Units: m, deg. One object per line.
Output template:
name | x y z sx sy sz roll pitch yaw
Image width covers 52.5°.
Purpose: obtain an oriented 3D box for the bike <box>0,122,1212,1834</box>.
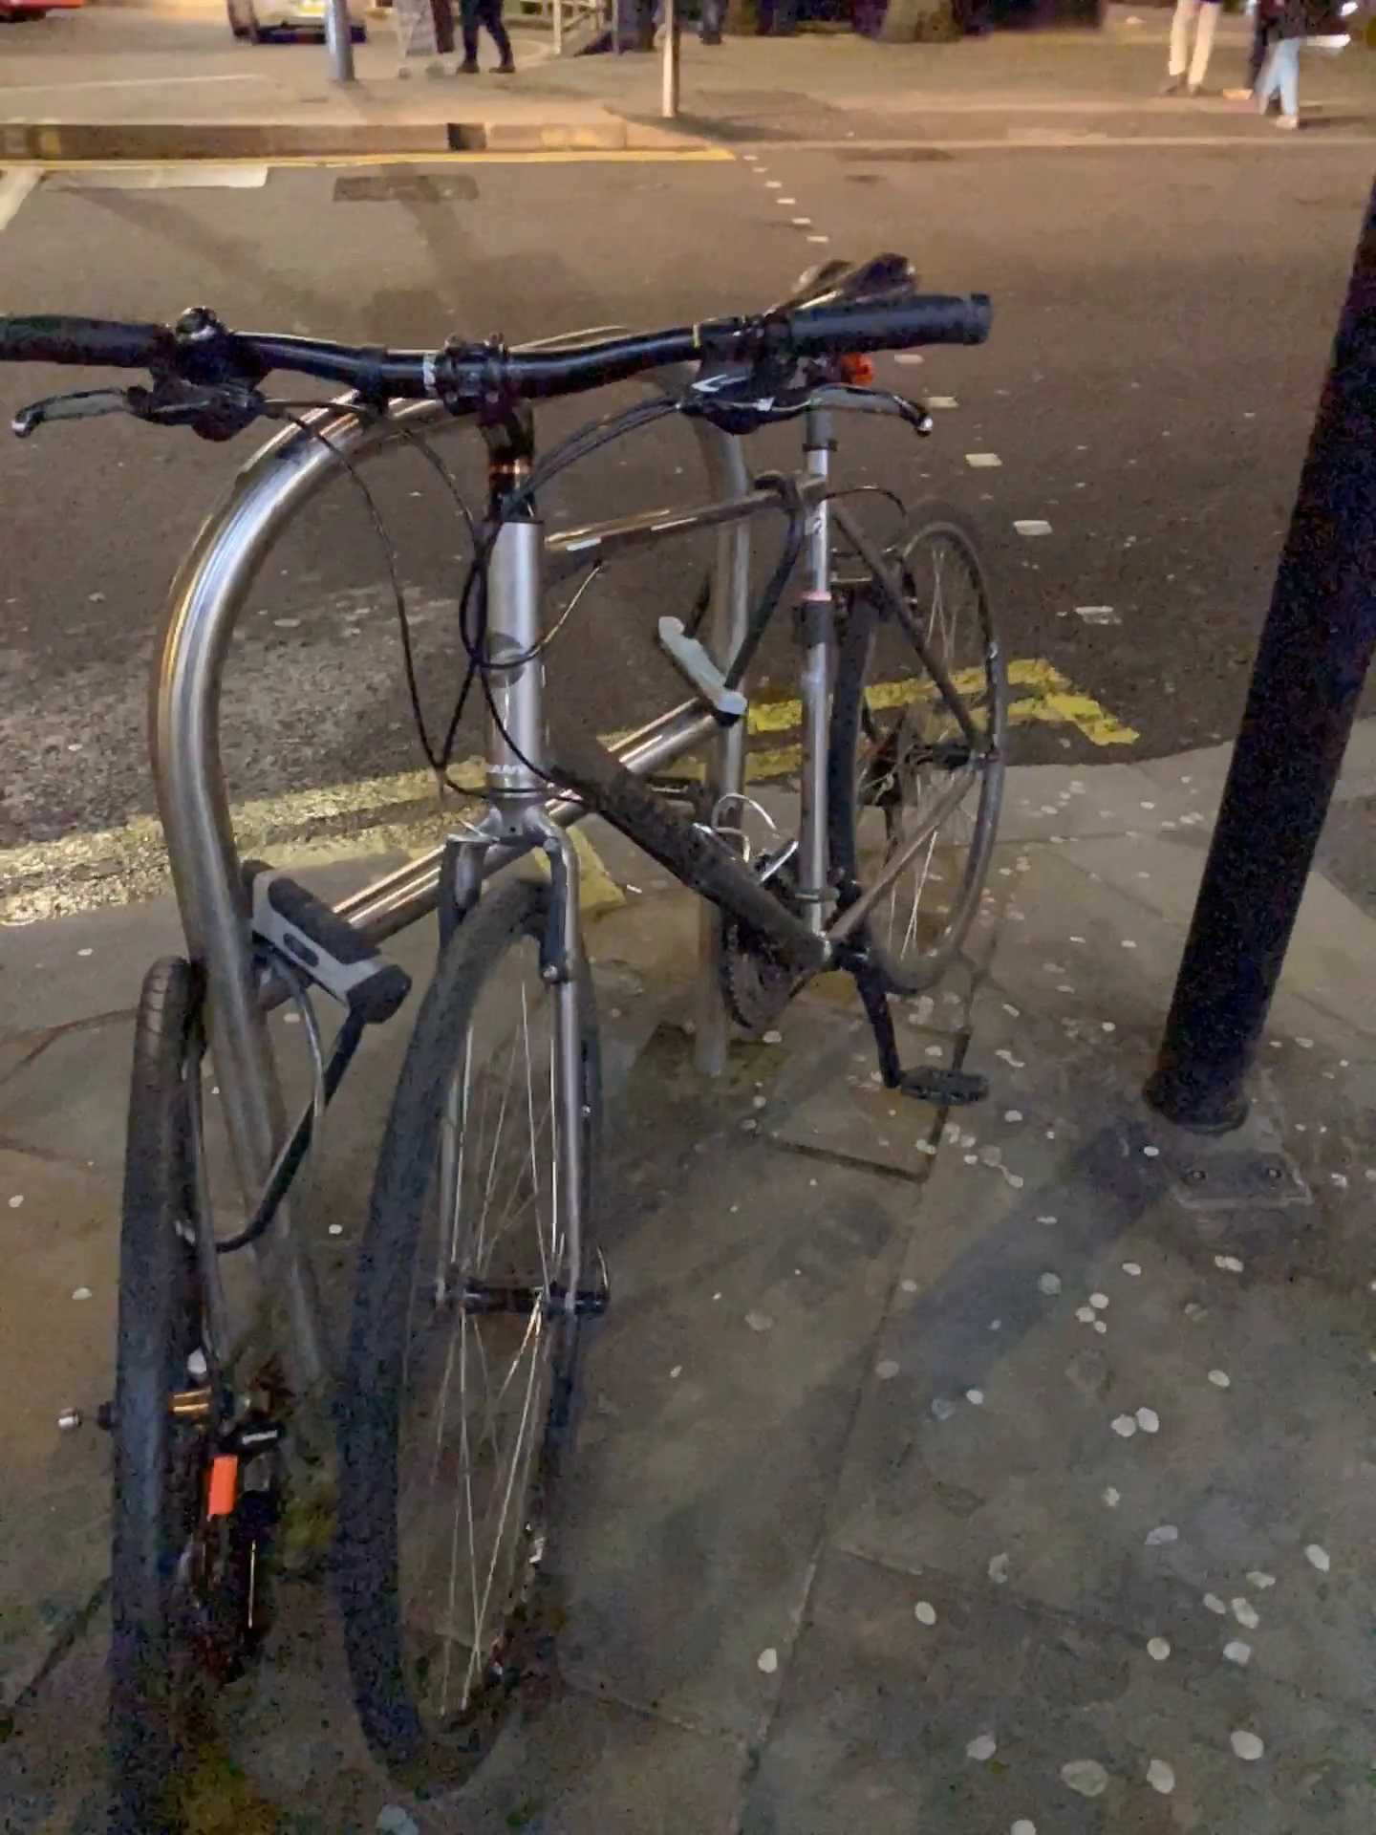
bike | -0.003 -0.159 1.529 0.708 1.124 1.829 14 35 18
